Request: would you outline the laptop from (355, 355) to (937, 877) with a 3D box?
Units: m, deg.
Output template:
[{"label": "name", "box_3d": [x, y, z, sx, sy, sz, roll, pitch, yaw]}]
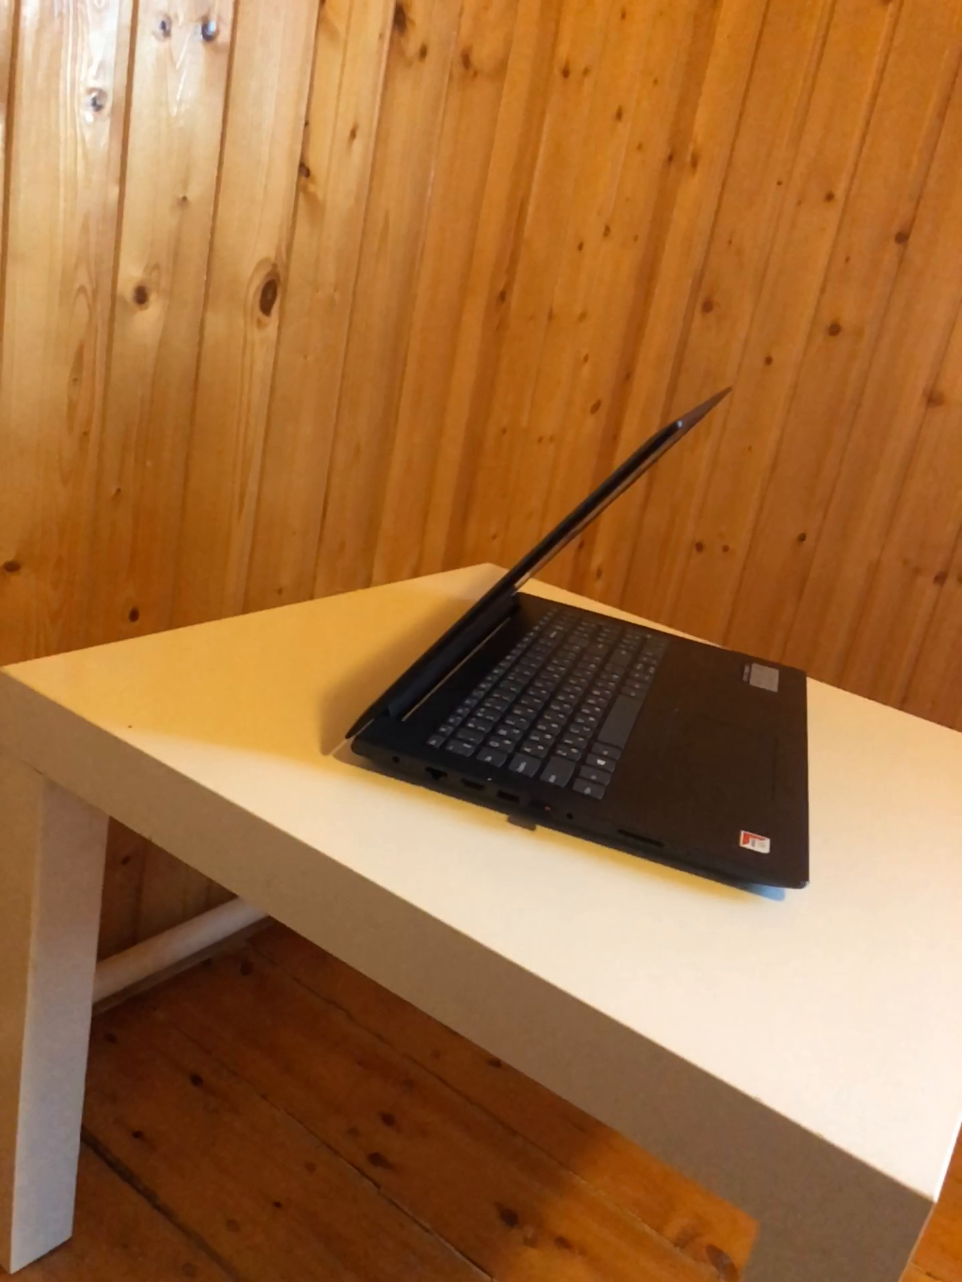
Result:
[{"label": "laptop", "box_3d": [0.120, -0.058, 0.702, 0.249, 0.206, 0.374, 15, 19, 12]}]
